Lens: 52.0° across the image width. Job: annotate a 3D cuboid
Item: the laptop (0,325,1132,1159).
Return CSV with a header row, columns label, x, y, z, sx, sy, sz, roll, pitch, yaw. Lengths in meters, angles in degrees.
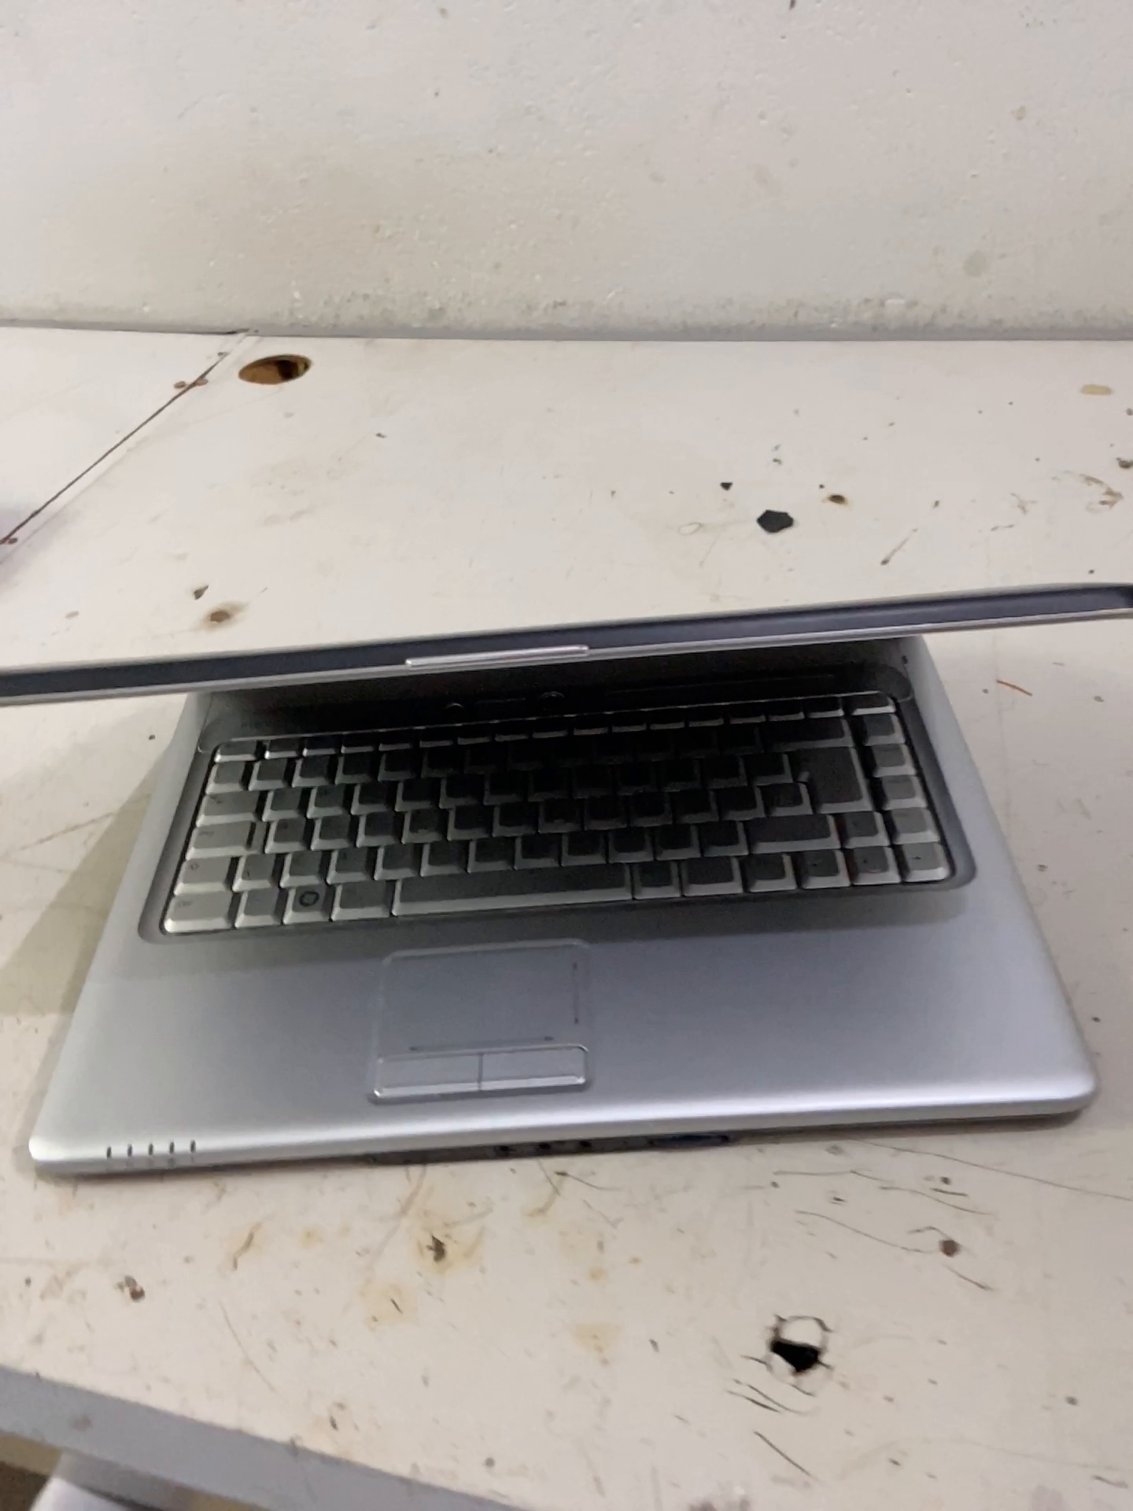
label,x,y,z,sx,sy,sz,roll,pitch,yaw
laptop,-0.012,-0.017,0.415,0.347,0.145,0.239,-4,42,2
